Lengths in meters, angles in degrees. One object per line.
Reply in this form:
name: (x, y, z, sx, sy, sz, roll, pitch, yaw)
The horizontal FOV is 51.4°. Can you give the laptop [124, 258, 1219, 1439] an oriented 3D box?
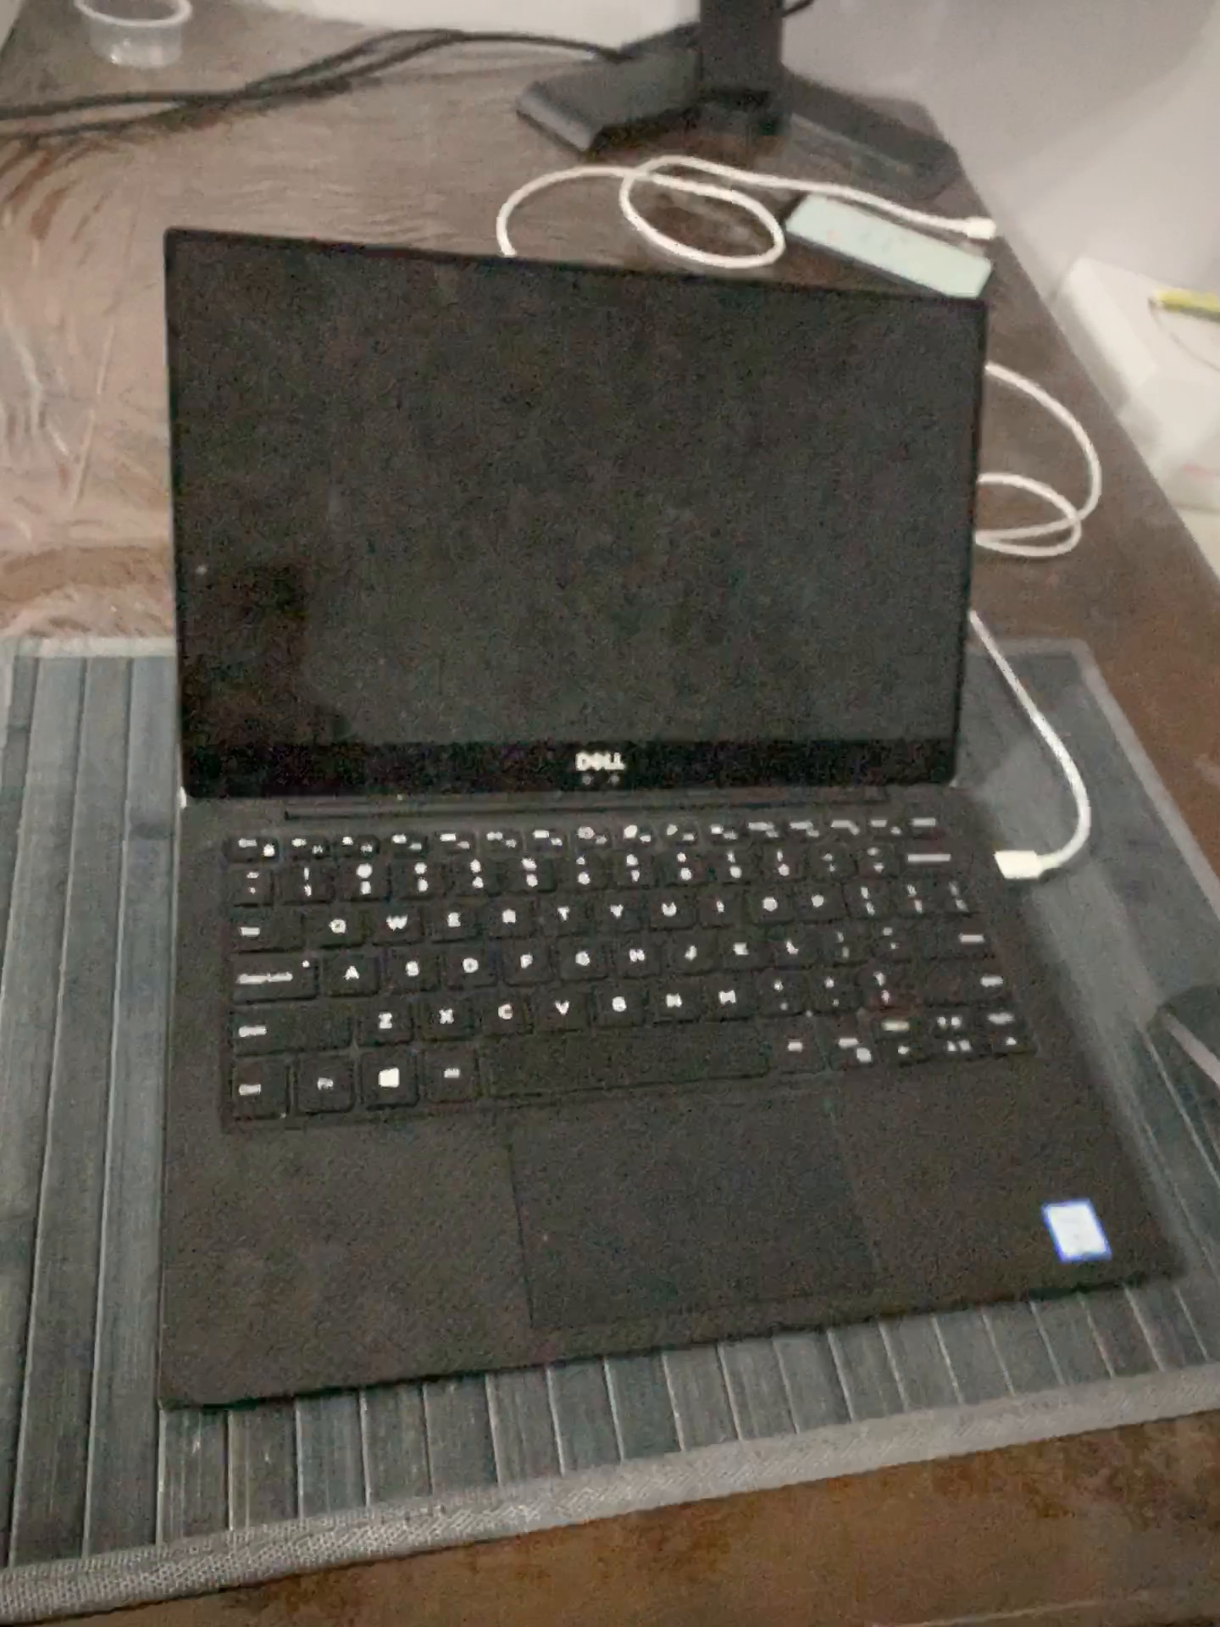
laptop: (0.023, -0.015, 0.373, 0.282, 0.129, 0.298, -2, 51, -15)
